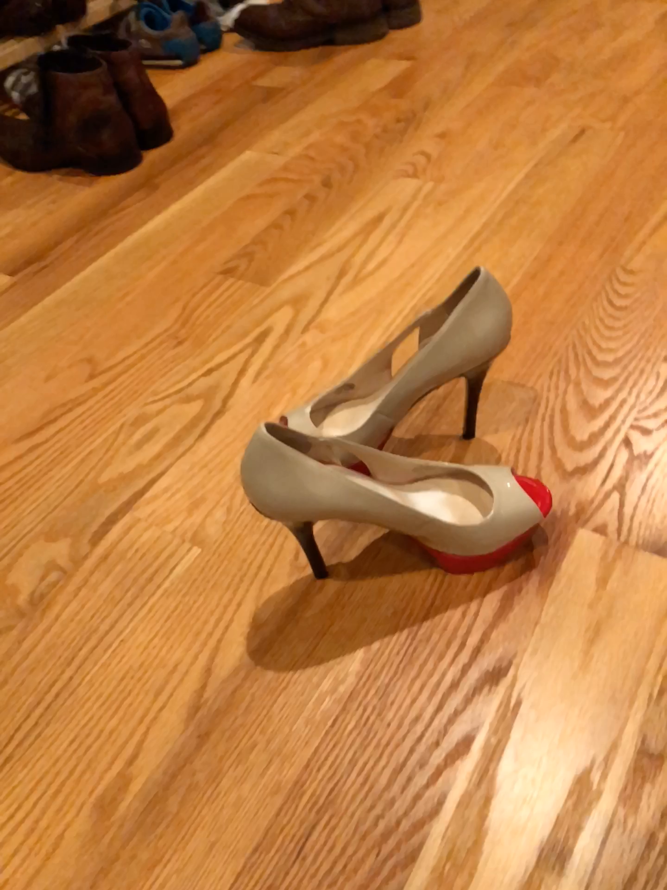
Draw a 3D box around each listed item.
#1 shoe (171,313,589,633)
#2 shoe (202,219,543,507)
[{"bbox_3d":[0.027,0.020,0.443,0.215,0.129,0.085,-12,44,0],"label":"shoe"},{"bbox_3d":[0.032,-0.057,0.547,0.220,0.149,0.080,-14,44,-2],"label":"shoe"}]
